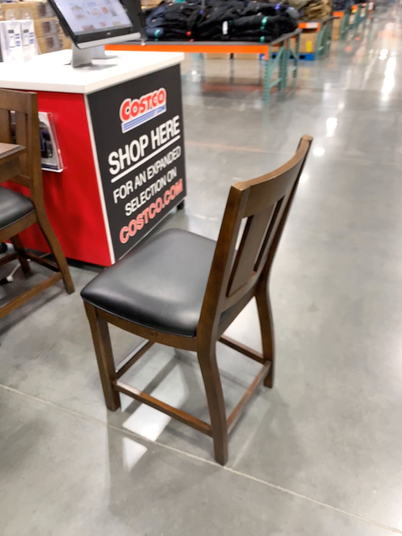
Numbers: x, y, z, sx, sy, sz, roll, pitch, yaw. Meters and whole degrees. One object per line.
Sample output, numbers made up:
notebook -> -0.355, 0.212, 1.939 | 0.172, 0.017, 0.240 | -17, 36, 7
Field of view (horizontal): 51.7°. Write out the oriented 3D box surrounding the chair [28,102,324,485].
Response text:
chair -> -0.035, 0.069, 1.376 | 0.588, 1.021, 0.526 | 17, 38, 26

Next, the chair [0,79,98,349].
chair -> -0.998, -0.280, 1.906 | 0.656, 0.952, 0.599 | 18, 38, 27
